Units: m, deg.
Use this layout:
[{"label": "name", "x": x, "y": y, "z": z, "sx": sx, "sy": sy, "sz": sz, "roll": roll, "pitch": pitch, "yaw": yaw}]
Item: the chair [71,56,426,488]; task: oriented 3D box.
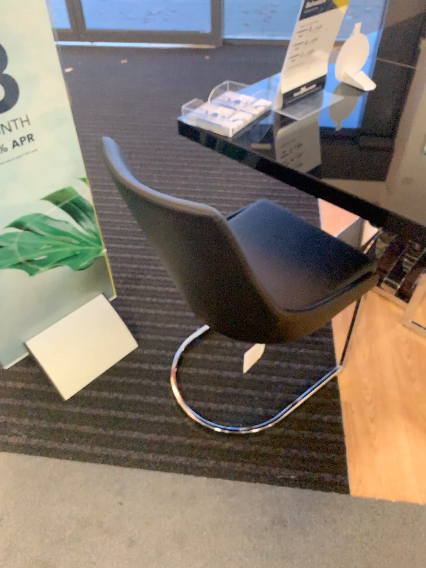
[{"label": "chair", "x": 0.119, "y": -0.036, "z": 1.161, "sx": 0.611, "sy": 0.811, "sz": 0.534, "roll": -29, "pitch": 50, "yaw": -26}]
